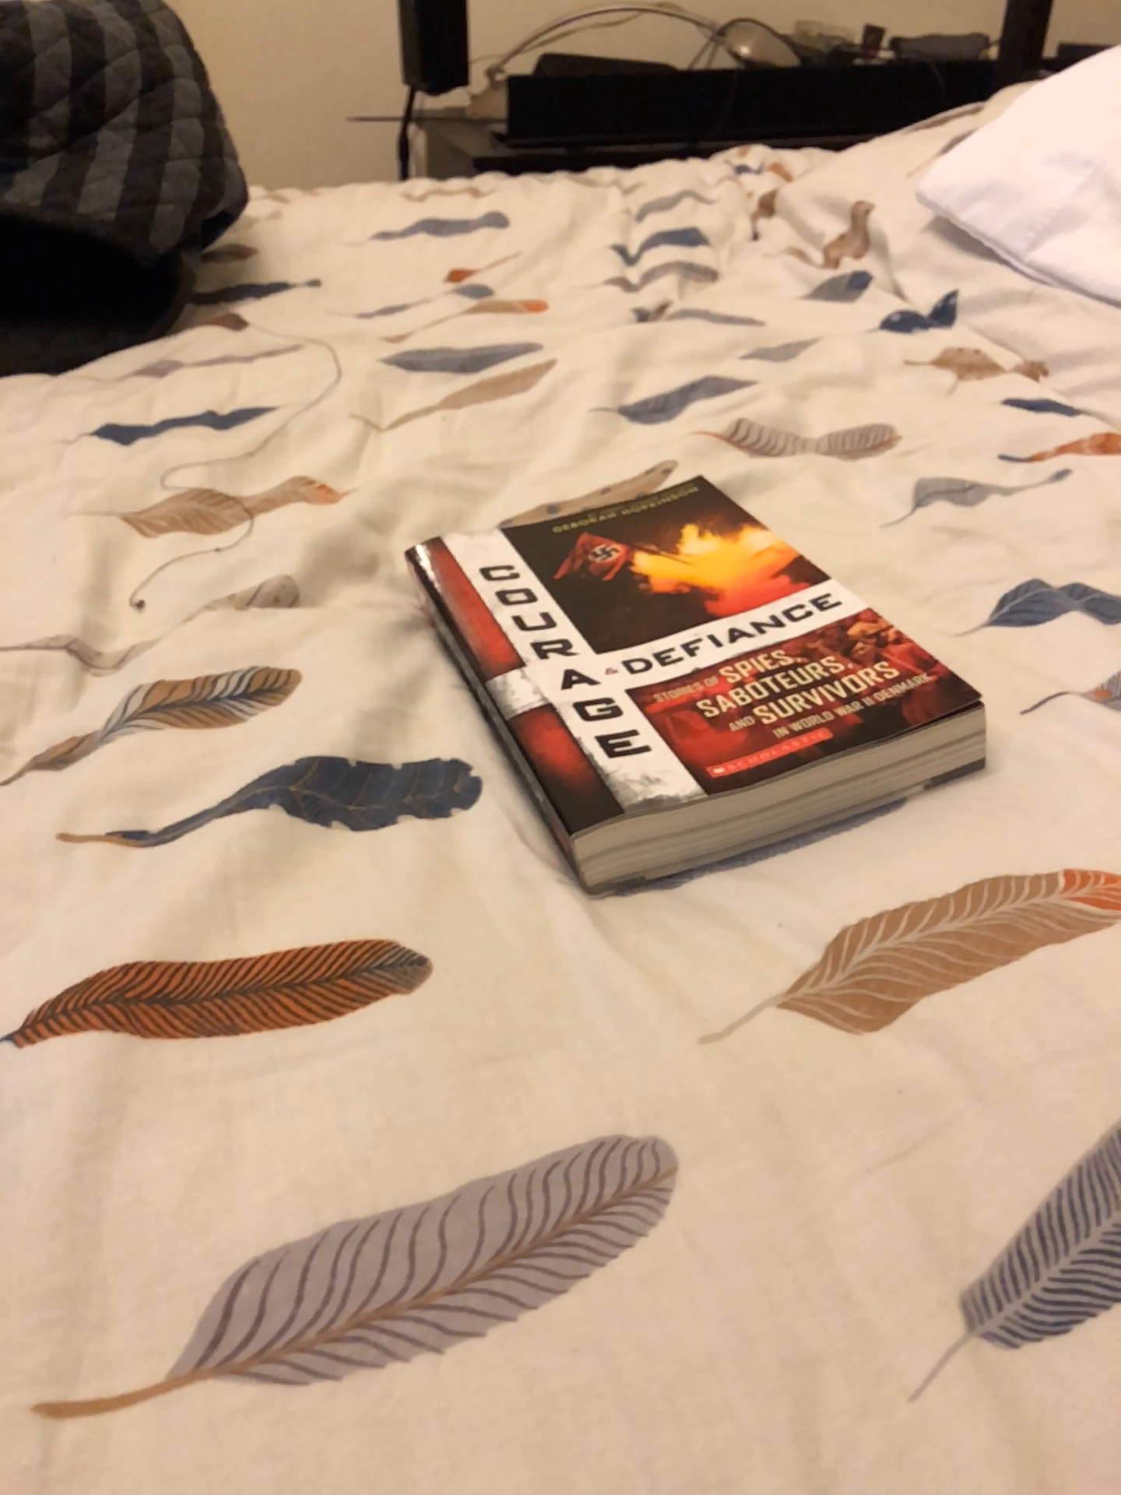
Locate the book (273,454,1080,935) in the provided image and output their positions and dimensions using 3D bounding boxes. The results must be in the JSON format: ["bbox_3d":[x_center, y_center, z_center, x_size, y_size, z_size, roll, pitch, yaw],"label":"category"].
[{"bbox_3d":[0.022,-0.041,0.440,0.200,0.020,0.231,-12,37,-19],"label":"book"}]
